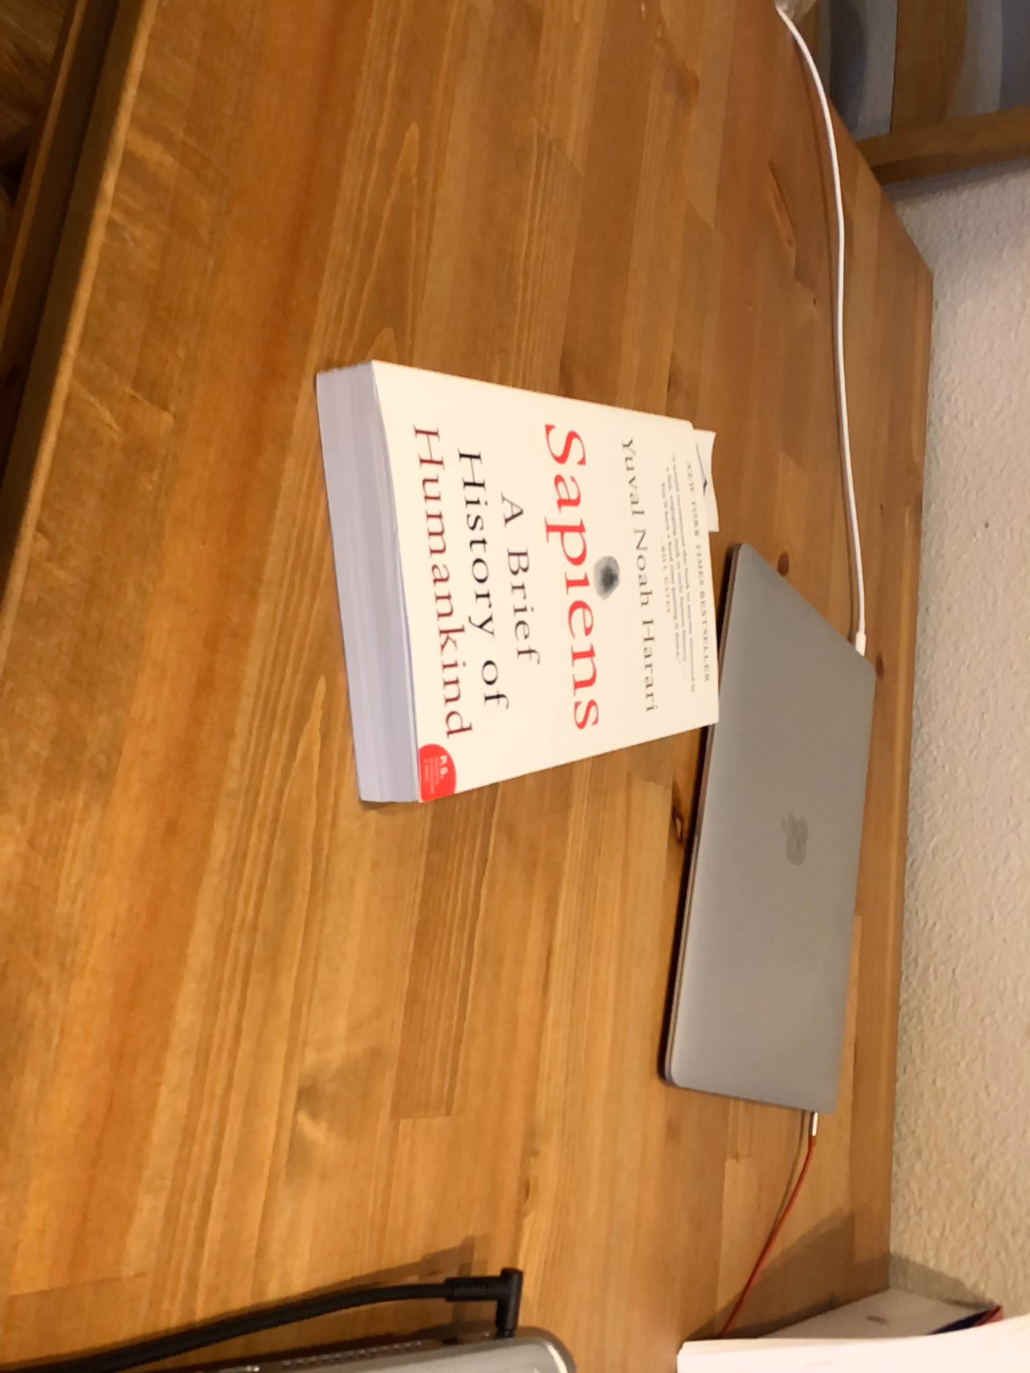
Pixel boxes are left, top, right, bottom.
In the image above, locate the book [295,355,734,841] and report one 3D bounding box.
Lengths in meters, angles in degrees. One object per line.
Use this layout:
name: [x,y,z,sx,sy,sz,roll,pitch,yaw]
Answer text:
book: [0.018,-0.041,0.509,0.252,0.040,0.170,-9,95,-53]
